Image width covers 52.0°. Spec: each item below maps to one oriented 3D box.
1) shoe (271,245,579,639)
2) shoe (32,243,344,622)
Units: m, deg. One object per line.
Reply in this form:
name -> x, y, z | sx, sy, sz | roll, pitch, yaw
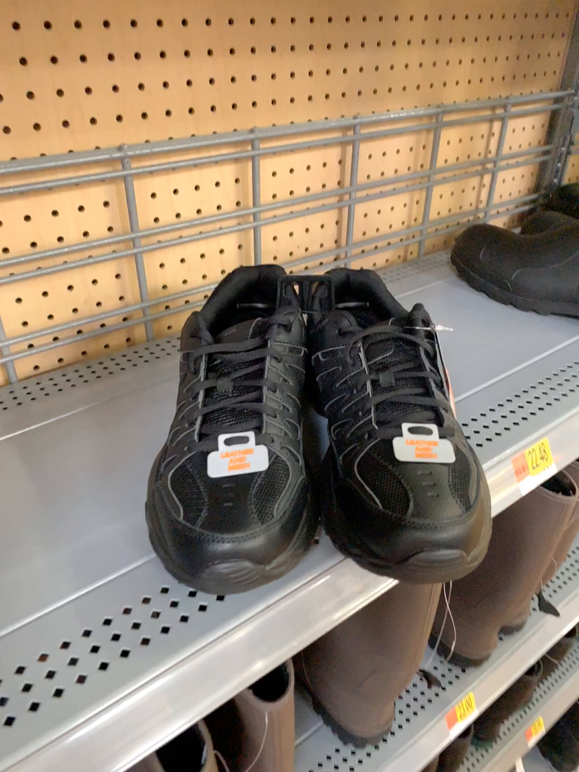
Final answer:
shoe -> 0.070, 0.004, 0.415 | 0.135, 0.104, 0.298 | -4, 33, -6
shoe -> -0.043, 0.001, 0.416 | 0.139, 0.104, 0.298 | 1, 33, 1
